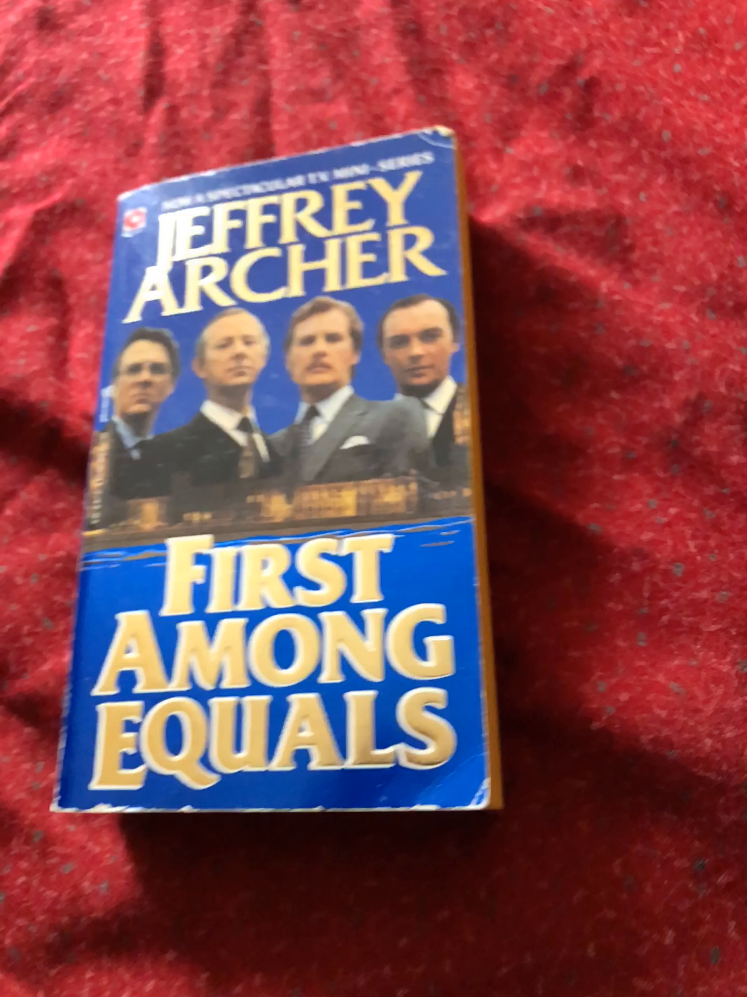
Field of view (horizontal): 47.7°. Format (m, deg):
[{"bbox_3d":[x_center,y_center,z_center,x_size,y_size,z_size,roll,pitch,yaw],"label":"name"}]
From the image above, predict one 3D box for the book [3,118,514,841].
[{"bbox_3d":[-0.026,-0.006,0.223,0.110,0.038,0.177,-5,70,12],"label":"book"}]
